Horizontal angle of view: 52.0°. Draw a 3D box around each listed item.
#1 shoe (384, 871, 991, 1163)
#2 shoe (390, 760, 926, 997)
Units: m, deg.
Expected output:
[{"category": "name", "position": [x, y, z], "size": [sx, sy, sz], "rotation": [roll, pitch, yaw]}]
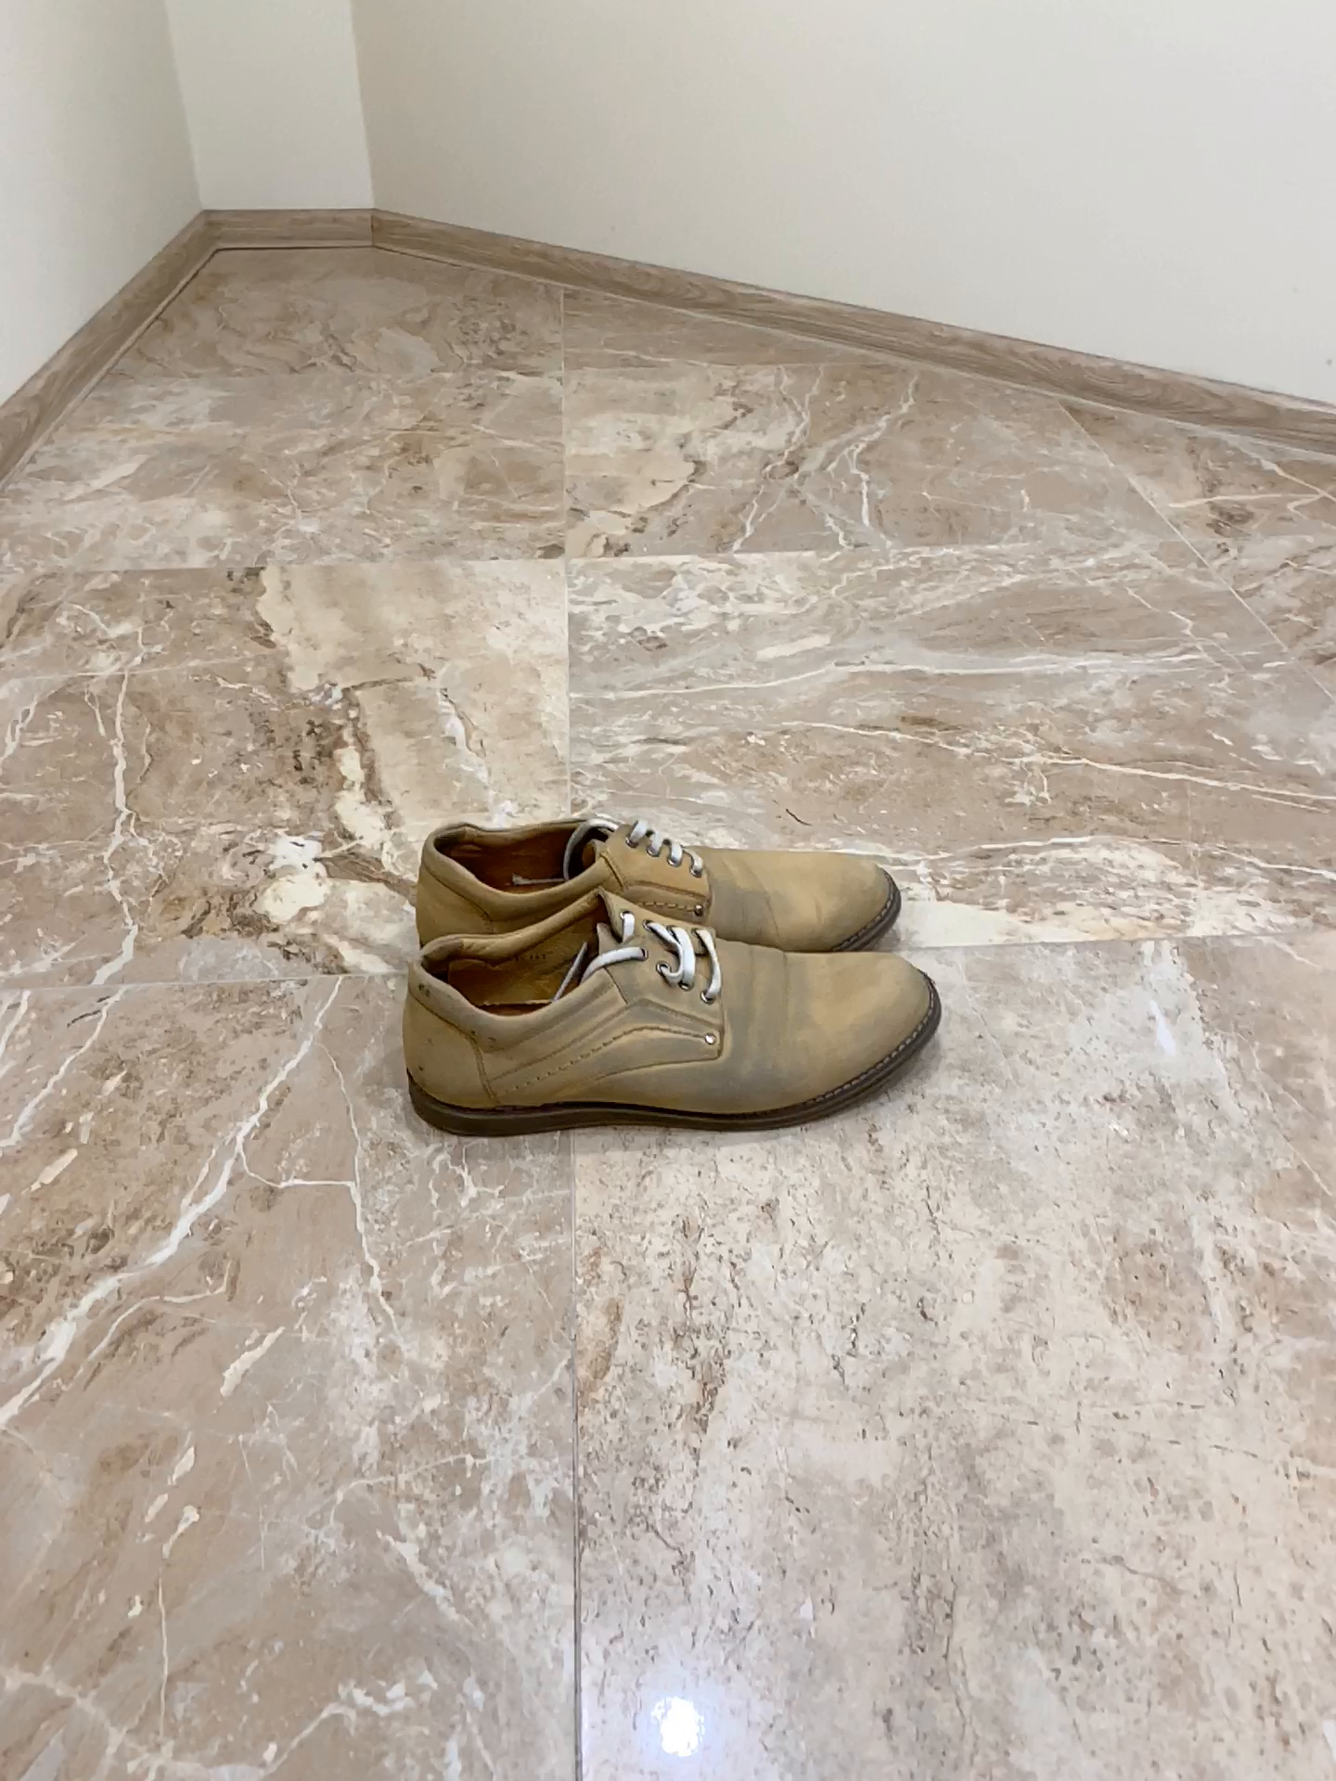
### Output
[{"category": "shoe", "position": [0.006, 0.061, 0.697], "size": [0.280, 0.080, 0.111], "rotation": [-3, 37, -4]}, {"category": "shoe", "position": [-0.008, -0.009, 0.779], "size": [0.280, 0.070, 0.111], "rotation": [-3, 37, -4]}]
